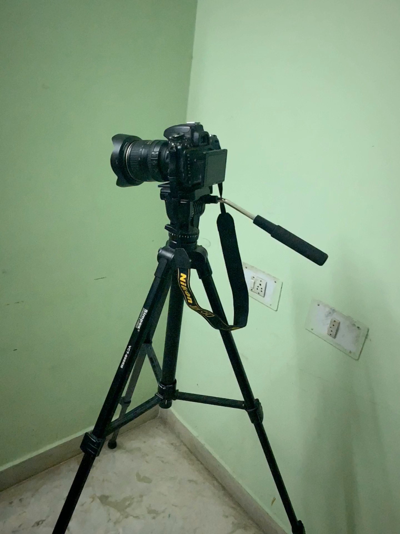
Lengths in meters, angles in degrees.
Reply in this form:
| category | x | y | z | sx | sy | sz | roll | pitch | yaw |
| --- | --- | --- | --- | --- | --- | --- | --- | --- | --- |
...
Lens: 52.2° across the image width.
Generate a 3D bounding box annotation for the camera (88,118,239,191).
| category | x | y | z | sx | sy | sz | roll | pitch | yaw |
| --- | --- | --- | --- | --- | --- | --- | --- | --- | --- |
| camera | -0.069 | -0.240 | 0.857 | 0.266 | 0.127 | 0.161 | 6 | 20 | 21 |
